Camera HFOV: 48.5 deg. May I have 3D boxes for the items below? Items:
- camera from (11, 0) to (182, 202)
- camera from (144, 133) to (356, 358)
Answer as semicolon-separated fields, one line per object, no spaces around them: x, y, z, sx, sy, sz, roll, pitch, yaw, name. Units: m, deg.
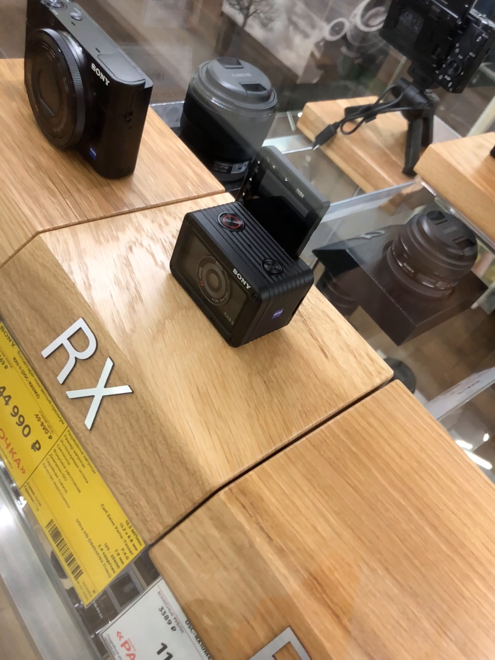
-0.091;-0.136;0.313;0.041;0.067;0.105;-23;64;-37;camera
-0.003;-0.039;0.247;0.050;0.067;0.062;-23;64;-37;camera
